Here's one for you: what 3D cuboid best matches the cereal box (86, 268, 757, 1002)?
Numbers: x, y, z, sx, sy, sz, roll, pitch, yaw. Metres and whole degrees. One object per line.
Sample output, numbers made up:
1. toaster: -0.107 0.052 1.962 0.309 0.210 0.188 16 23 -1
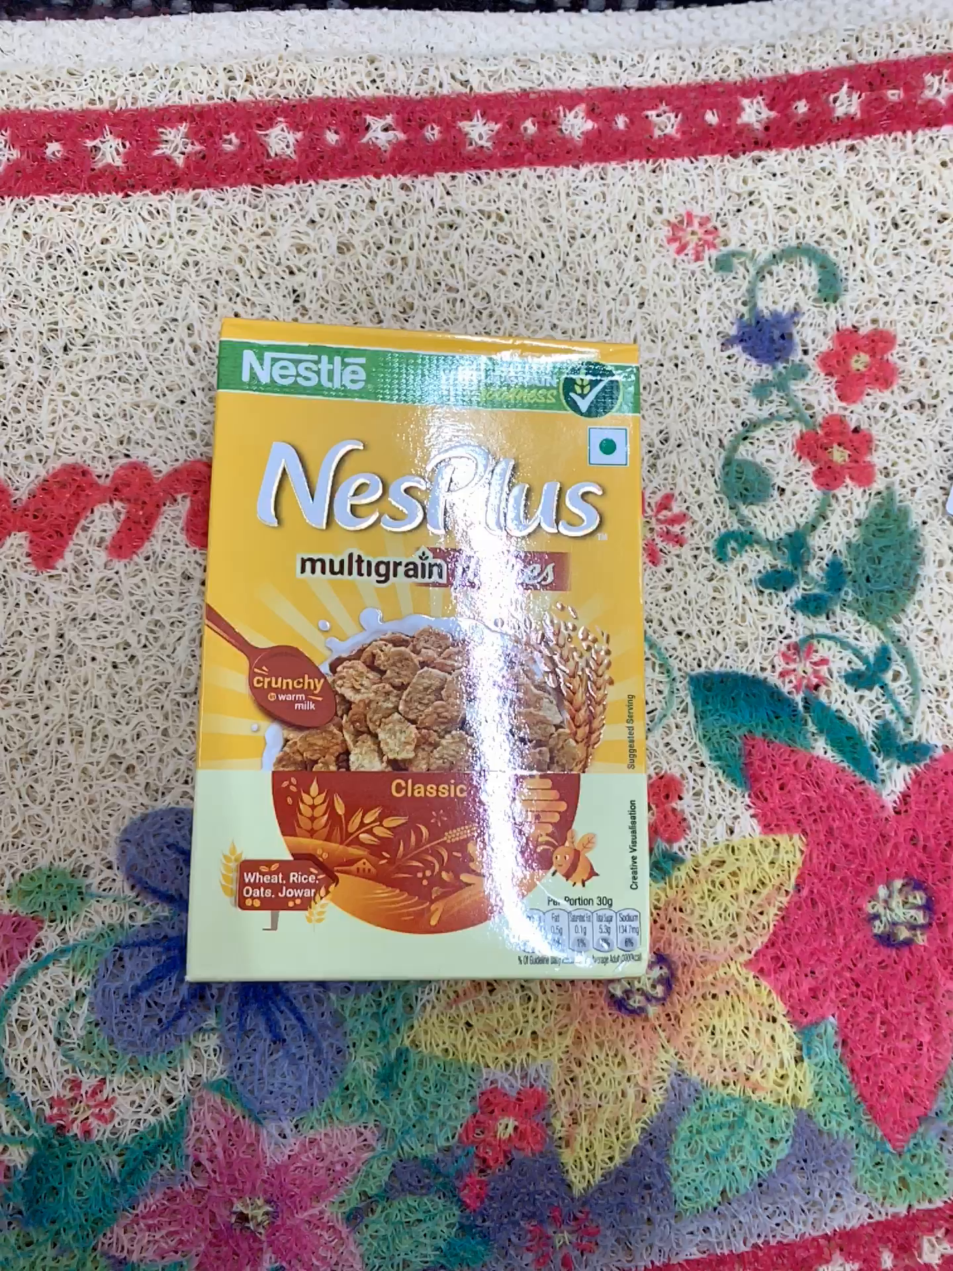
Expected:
1. cereal box: -0.009 0.000 0.225 0.130 0.040 0.150 2 80 -4
